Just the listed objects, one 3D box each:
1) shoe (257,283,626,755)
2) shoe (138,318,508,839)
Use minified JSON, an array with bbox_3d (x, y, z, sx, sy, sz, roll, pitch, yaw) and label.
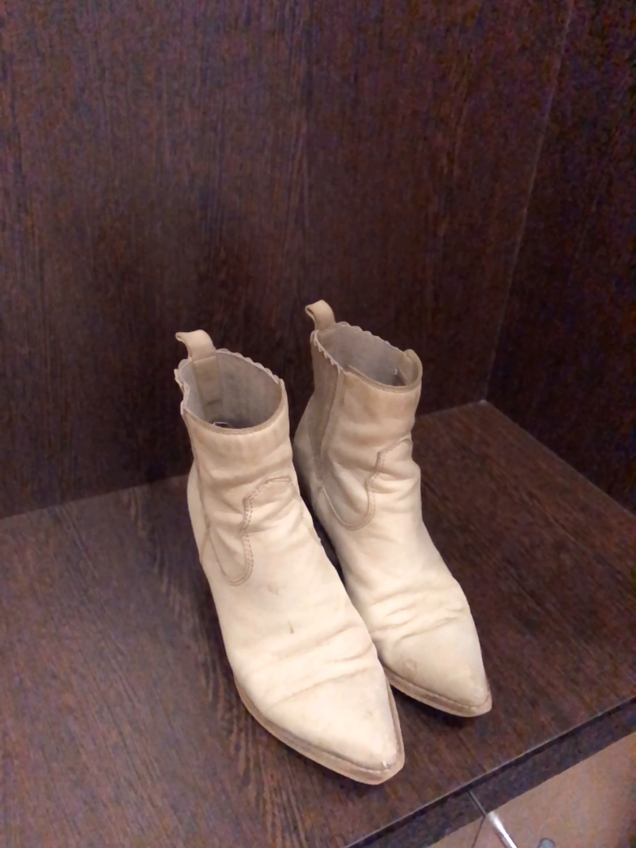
[{"bbox_3d":[0.050,0.039,0.488,0.100,0.169,0.281,-10,35,-20],"label":"shoe"},{"bbox_3d":[-0.021,0.072,0.450,0.100,0.169,0.271,-14,37,-23],"label":"shoe"}]
